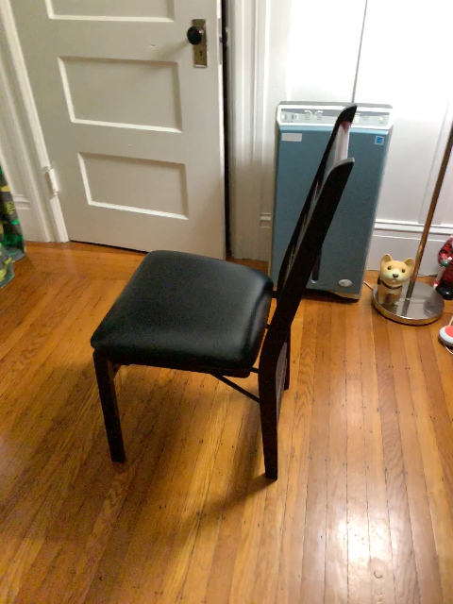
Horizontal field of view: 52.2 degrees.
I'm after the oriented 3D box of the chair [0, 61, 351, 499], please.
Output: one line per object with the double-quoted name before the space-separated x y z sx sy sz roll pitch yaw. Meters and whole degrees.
"chair" -0.061 -0.039 1.097 0.550 0.865 0.493 6 37 8
